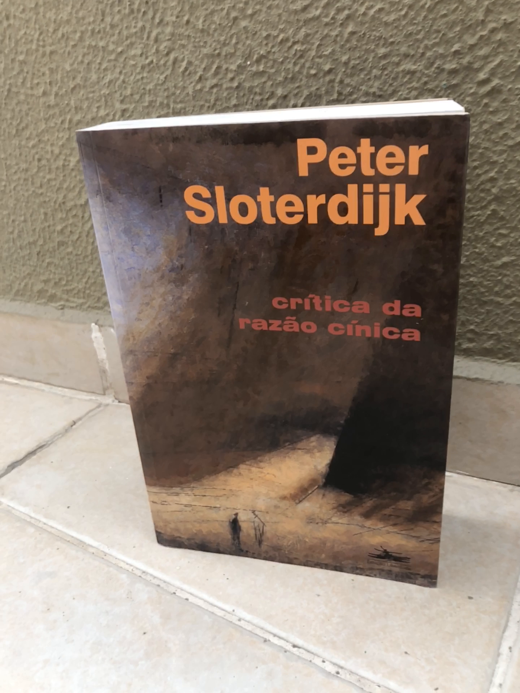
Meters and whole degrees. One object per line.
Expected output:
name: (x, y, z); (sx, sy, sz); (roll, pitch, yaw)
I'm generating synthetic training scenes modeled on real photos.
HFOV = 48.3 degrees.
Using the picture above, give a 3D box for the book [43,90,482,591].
book: (0.009, 0.003, 0.282); (0.165, 0.220, 0.058); (3, 27, 16)
